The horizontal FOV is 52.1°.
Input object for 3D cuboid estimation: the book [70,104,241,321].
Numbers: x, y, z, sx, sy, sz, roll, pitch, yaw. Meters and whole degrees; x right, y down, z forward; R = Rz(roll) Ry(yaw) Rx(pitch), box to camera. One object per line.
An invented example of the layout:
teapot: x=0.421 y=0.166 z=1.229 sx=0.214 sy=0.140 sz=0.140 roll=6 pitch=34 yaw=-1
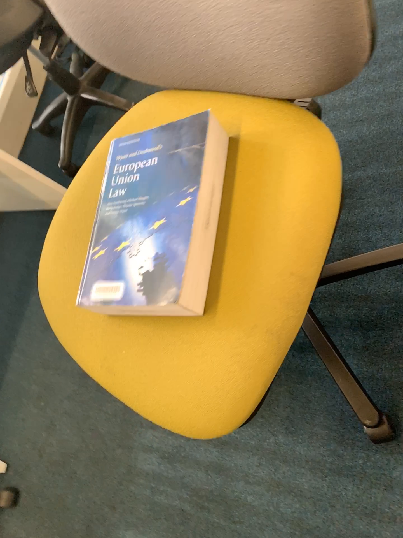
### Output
book: x=-0.056 y=-0.066 z=0.529 sx=0.181 sy=0.060 sz=0.251 roll=-3 pitch=70 yaw=33
